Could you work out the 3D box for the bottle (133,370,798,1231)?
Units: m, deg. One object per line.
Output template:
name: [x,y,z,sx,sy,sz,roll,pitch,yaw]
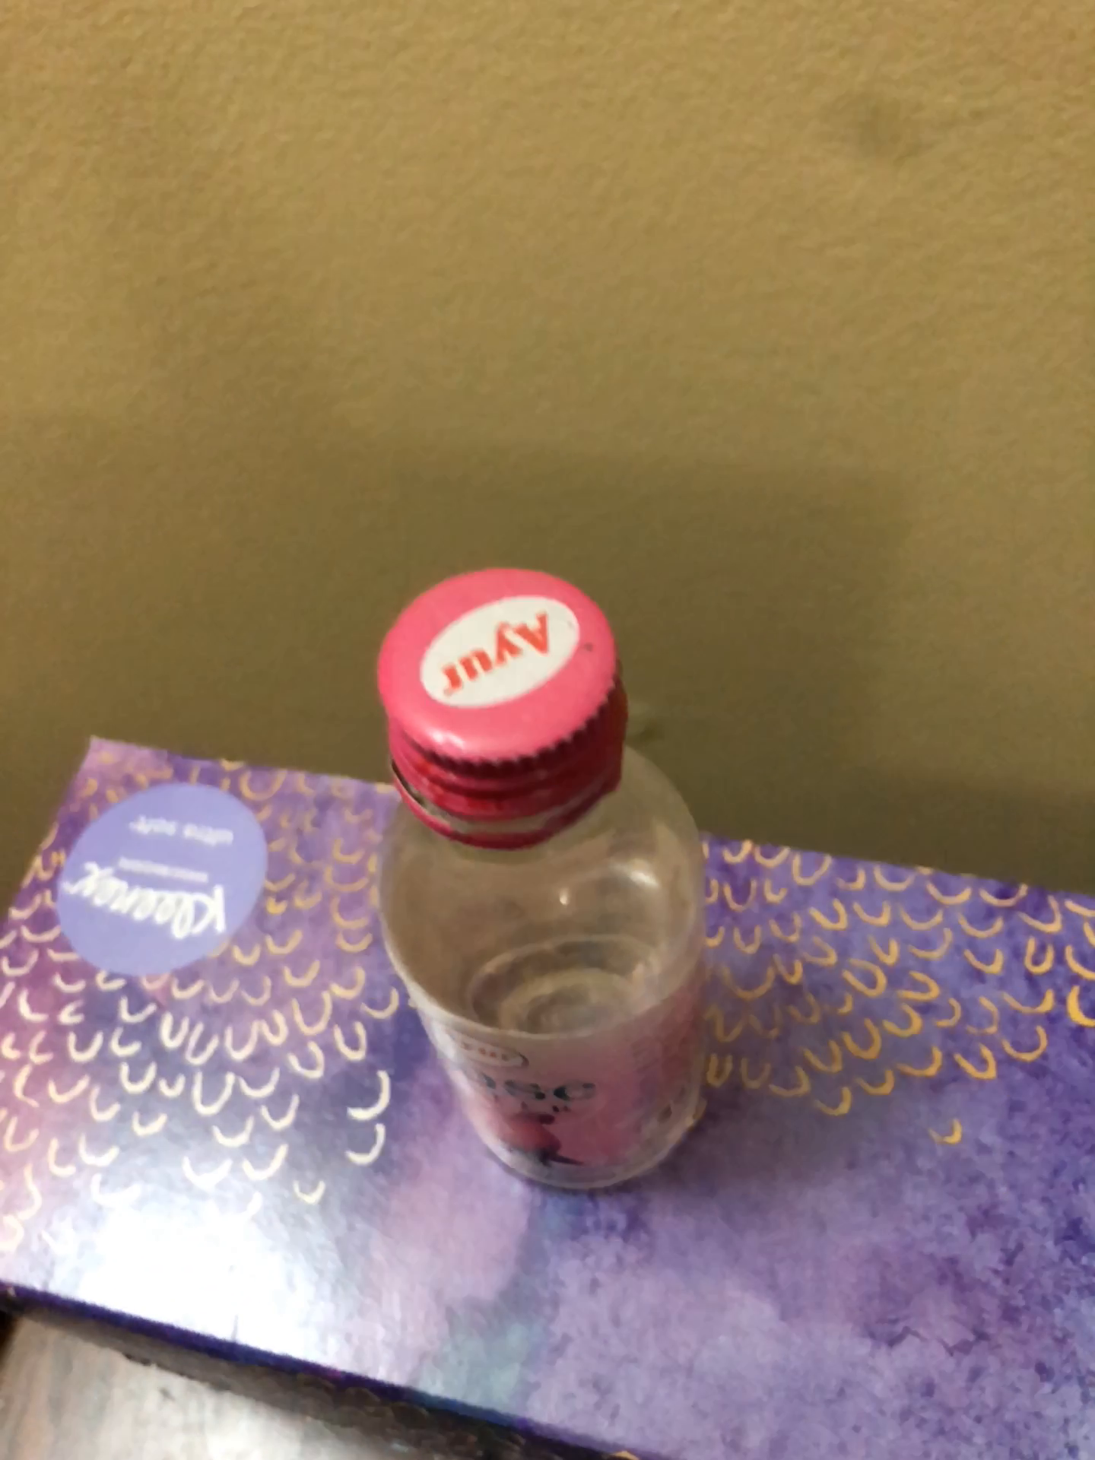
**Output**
bottle: [-0.002,0.016,0.143,0.040,0.100,0.040,-3,54,4]
